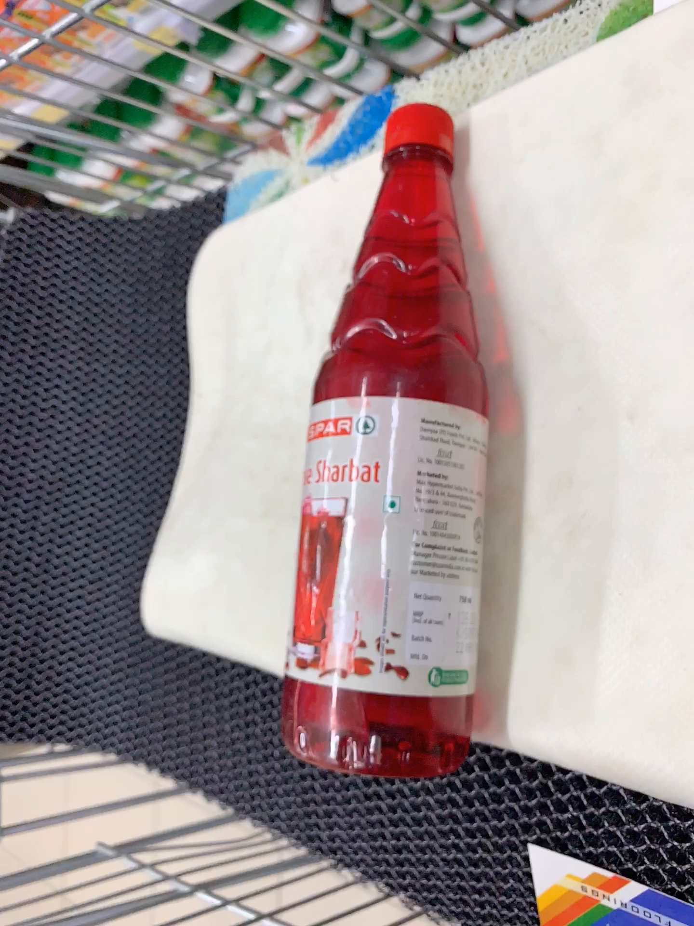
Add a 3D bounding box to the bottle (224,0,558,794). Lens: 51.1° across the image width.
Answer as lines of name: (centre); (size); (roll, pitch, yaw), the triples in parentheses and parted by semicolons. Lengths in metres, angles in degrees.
bottle: (0.018, -0.021, 0.252); (0.070, 0.070, 0.230); (-5, 77, 49)
